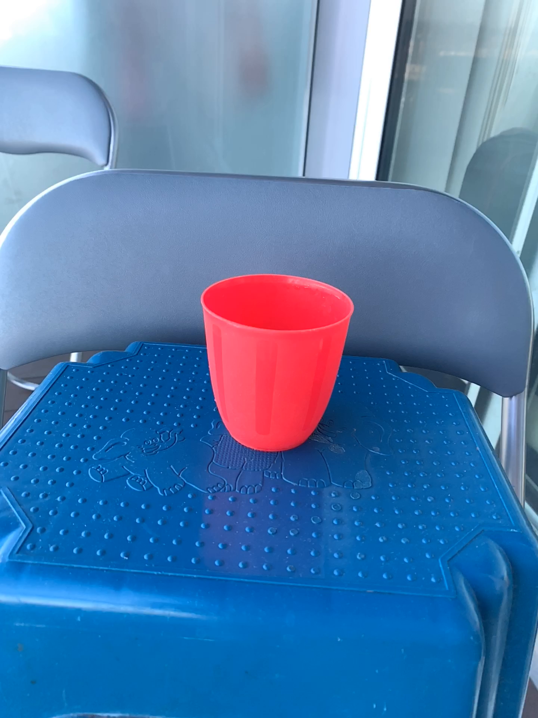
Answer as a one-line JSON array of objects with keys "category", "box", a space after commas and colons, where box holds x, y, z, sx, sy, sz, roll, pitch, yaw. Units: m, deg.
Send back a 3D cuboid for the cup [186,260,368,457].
[{"category": "cup", "box": [0.004, -0.002, 0.313, 0.086, 0.077, 0.074, 5, 32, 2]}]
